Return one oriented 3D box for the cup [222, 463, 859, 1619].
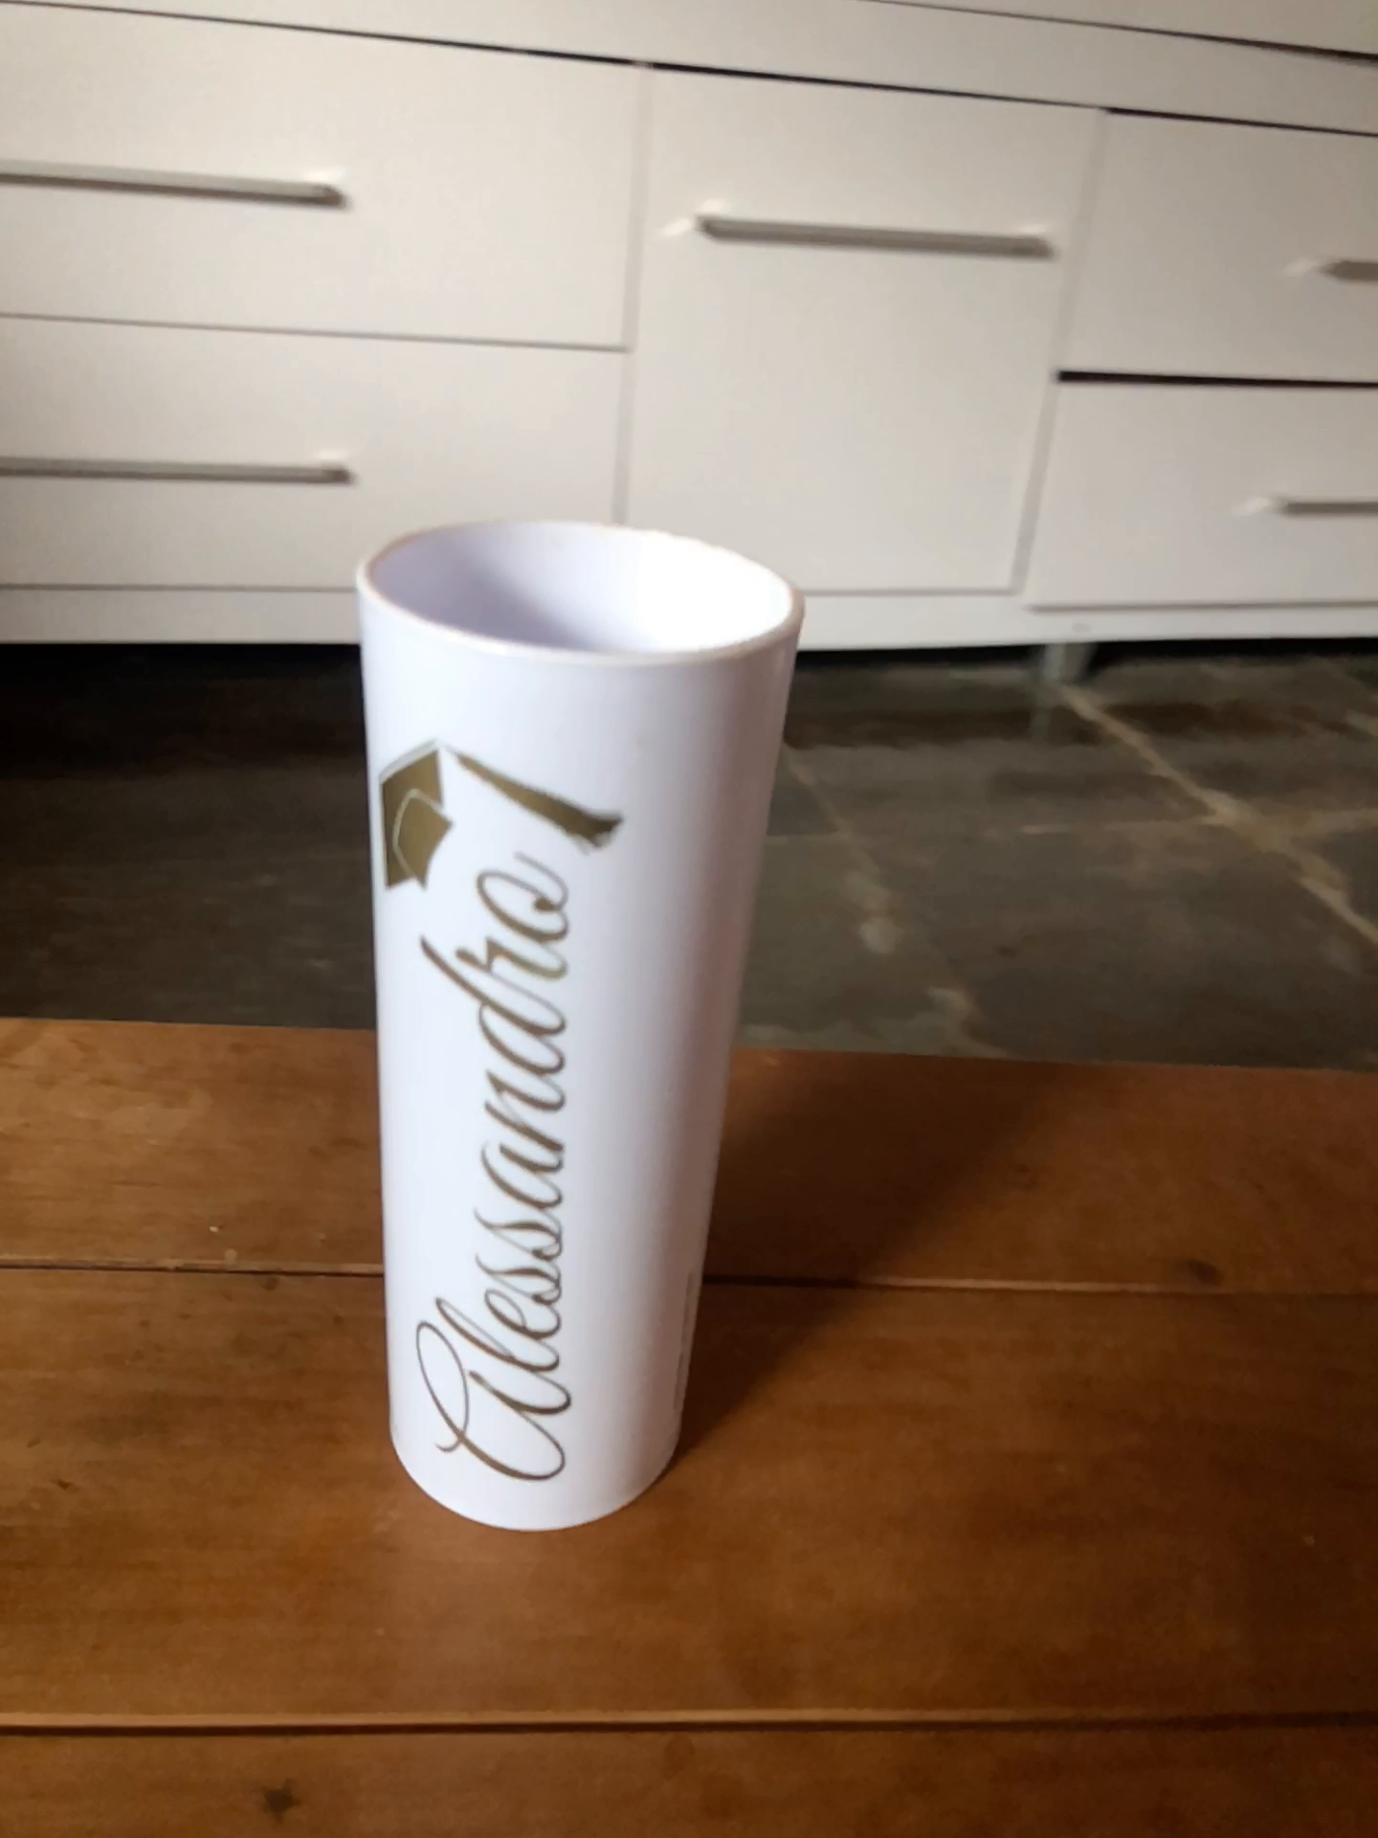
[{"bbox_3d":[-0.020,0.021,0.239,0.070,0.159,0.071,4,29,-2],"label":"cup"}]
